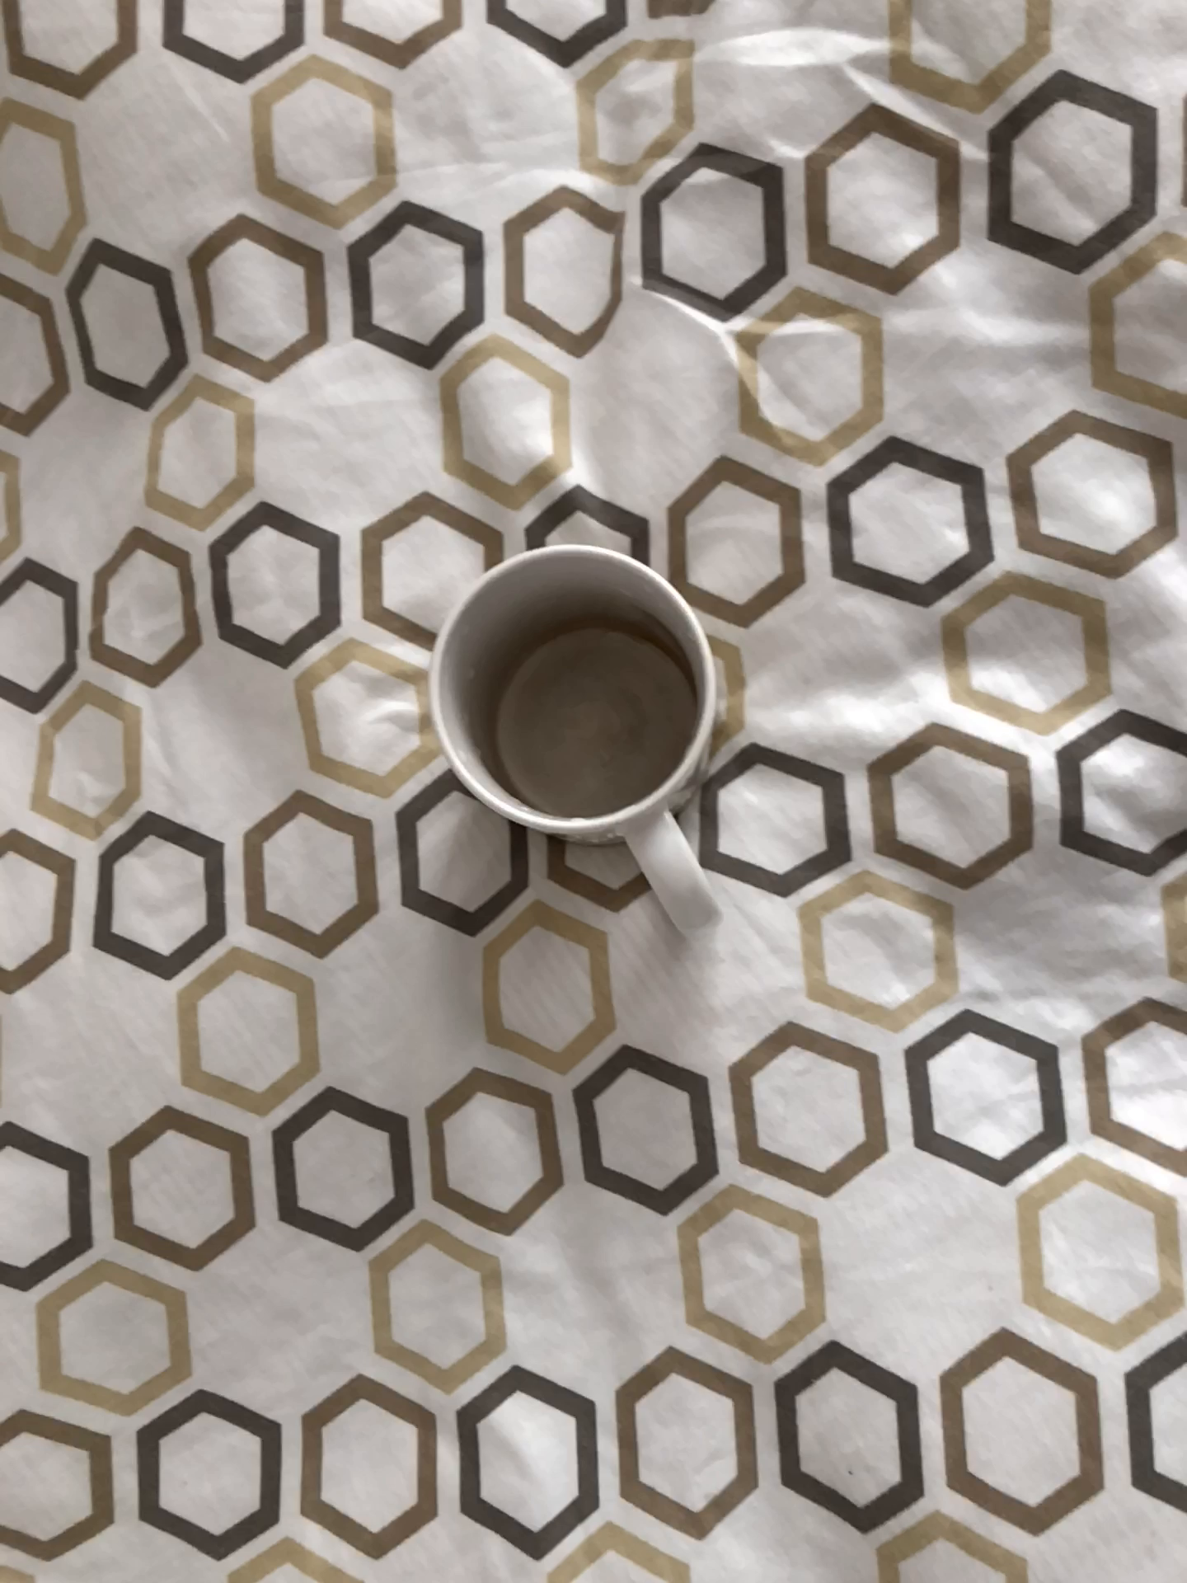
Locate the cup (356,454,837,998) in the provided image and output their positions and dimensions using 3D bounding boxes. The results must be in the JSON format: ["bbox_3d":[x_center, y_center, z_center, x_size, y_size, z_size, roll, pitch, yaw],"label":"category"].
[{"bbox_3d":[0.003,-0.017,0.407,0.086,0.088,0.126,-27,86,3],"label":"cup"}]
